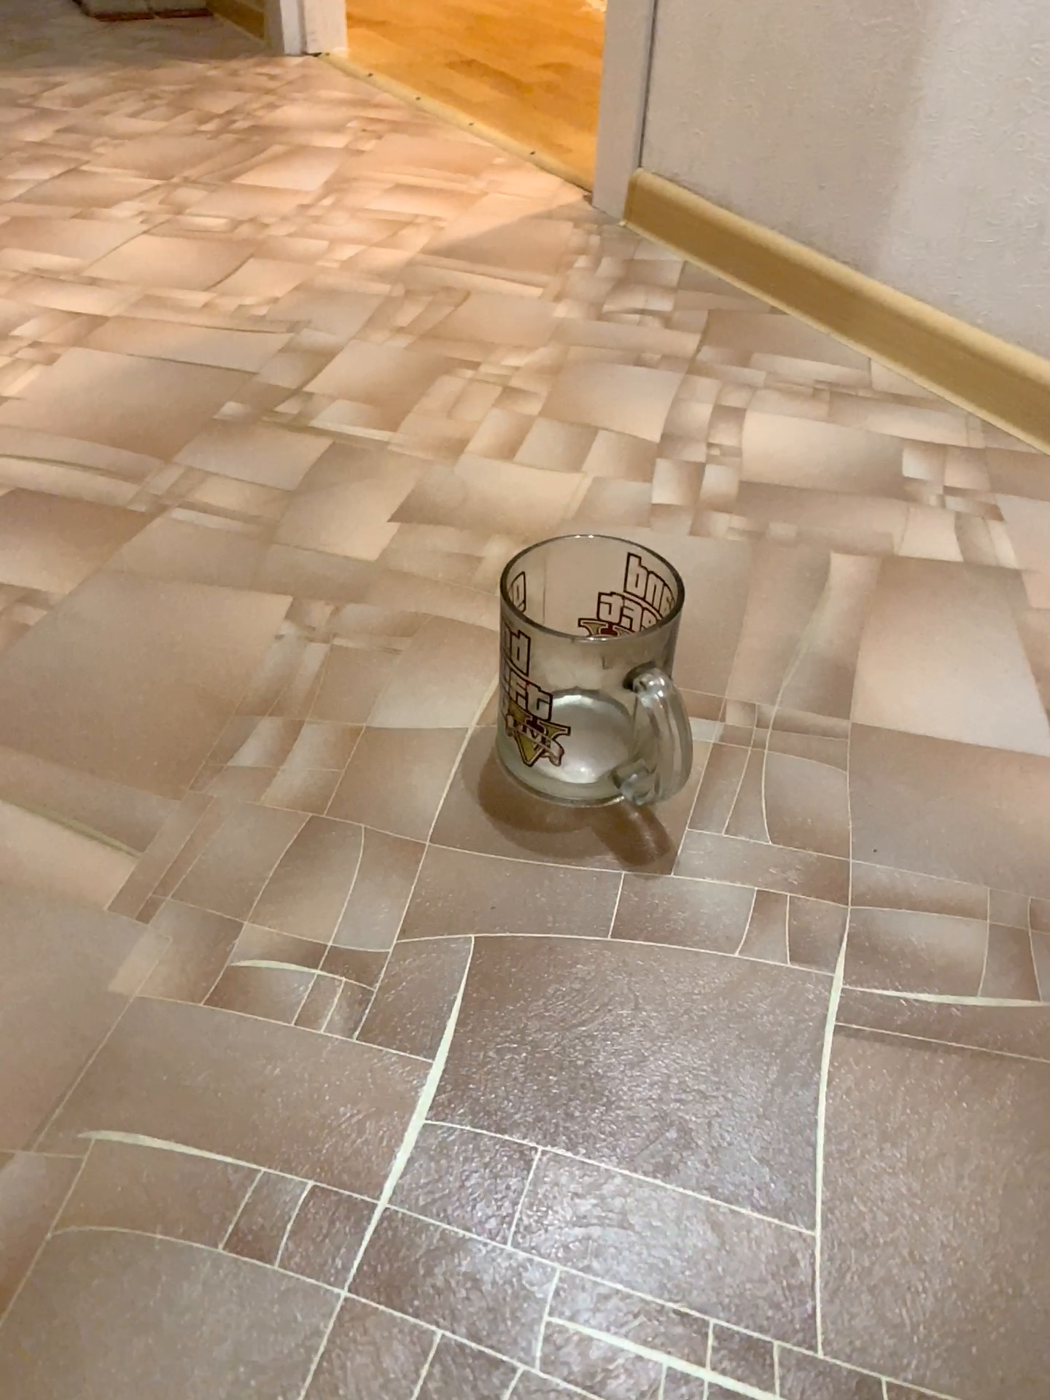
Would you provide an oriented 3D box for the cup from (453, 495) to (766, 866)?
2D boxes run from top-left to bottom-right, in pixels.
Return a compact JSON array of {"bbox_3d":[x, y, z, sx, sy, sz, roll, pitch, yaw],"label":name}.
[{"bbox_3d":[0.029,-0.011,0.449,0.082,0.097,0.098,-20,46,-24],"label":"cup"}]
